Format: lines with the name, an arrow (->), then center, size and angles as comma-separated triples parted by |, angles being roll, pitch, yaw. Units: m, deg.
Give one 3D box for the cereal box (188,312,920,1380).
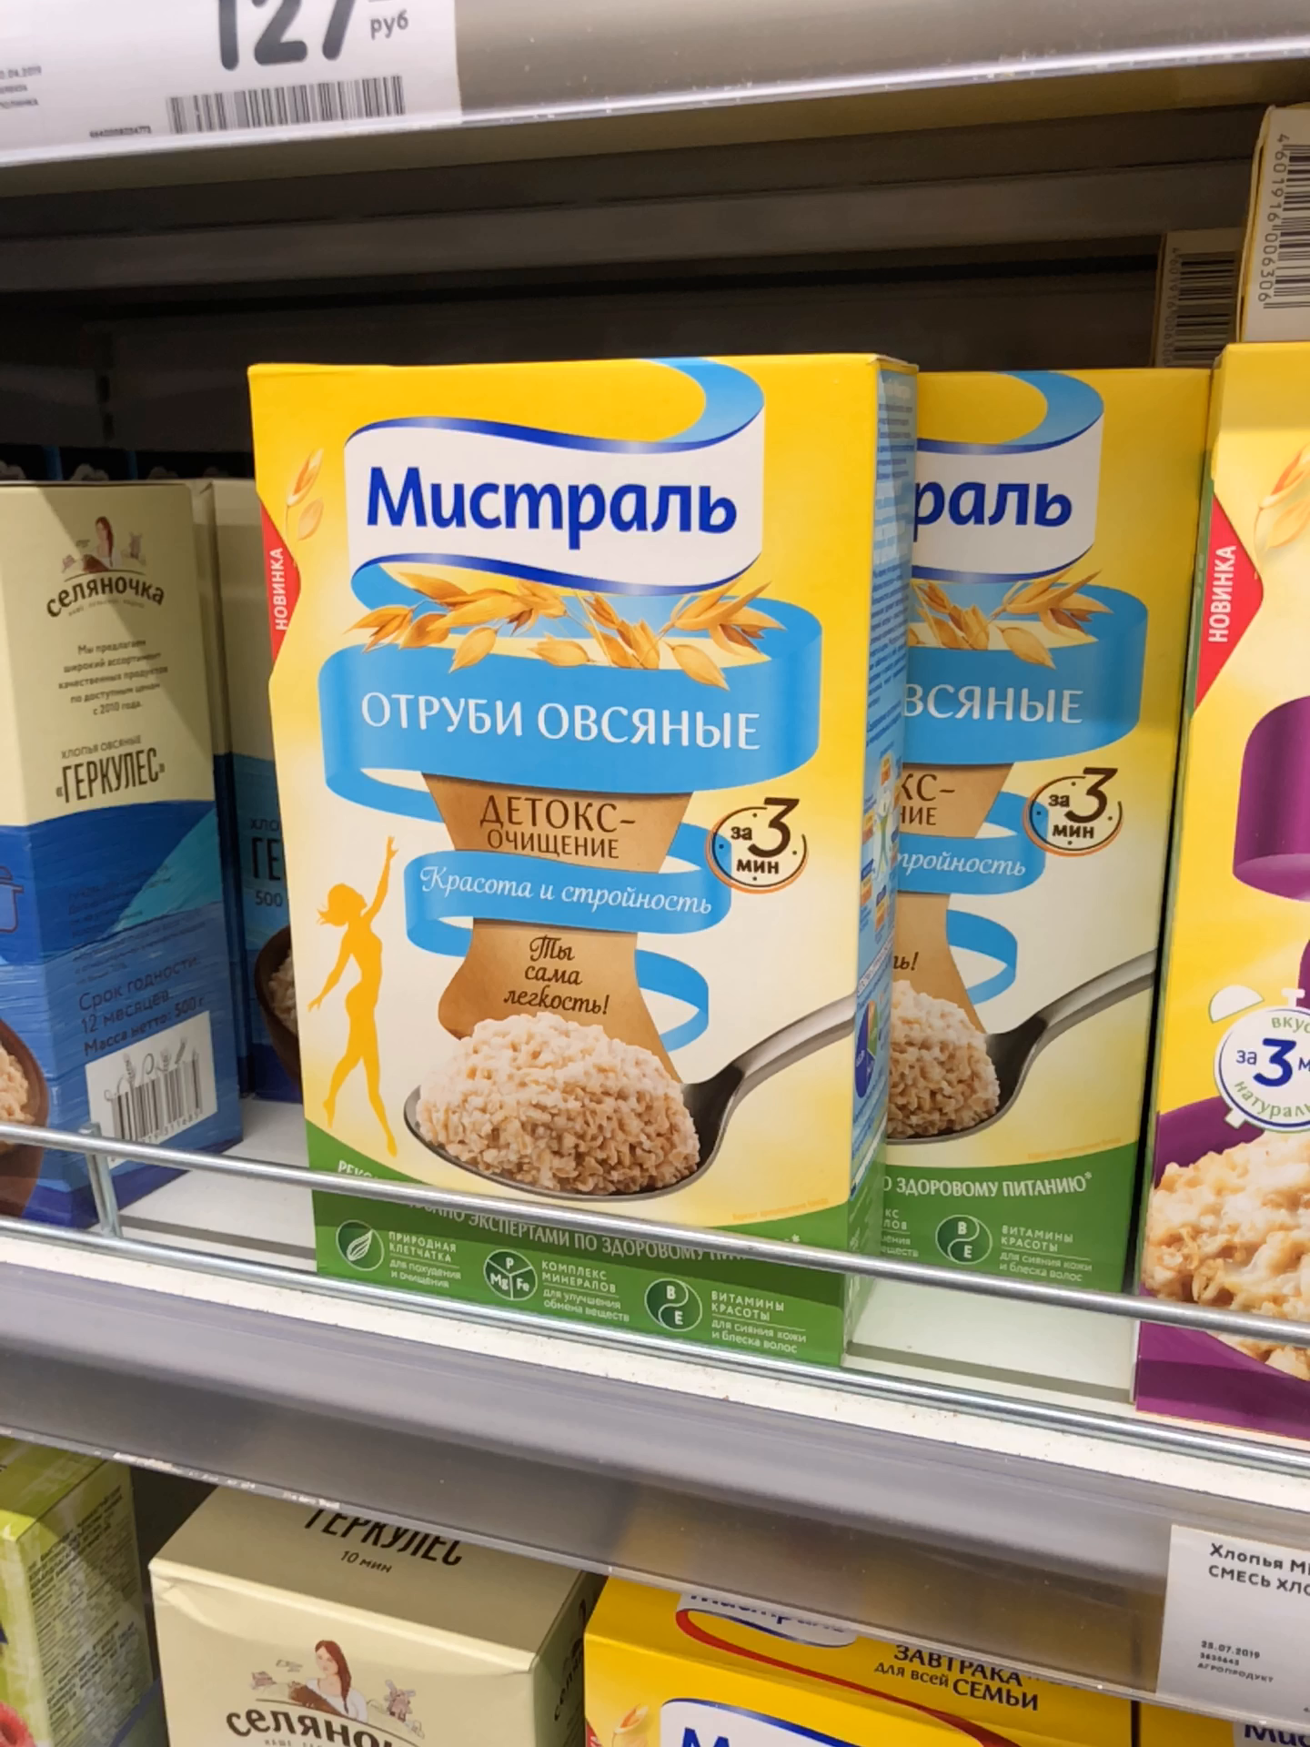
cereal box -> -0.019, -0.007, 0.322 | 0.140, 0.209, 0.050 | 4, 16, 19
